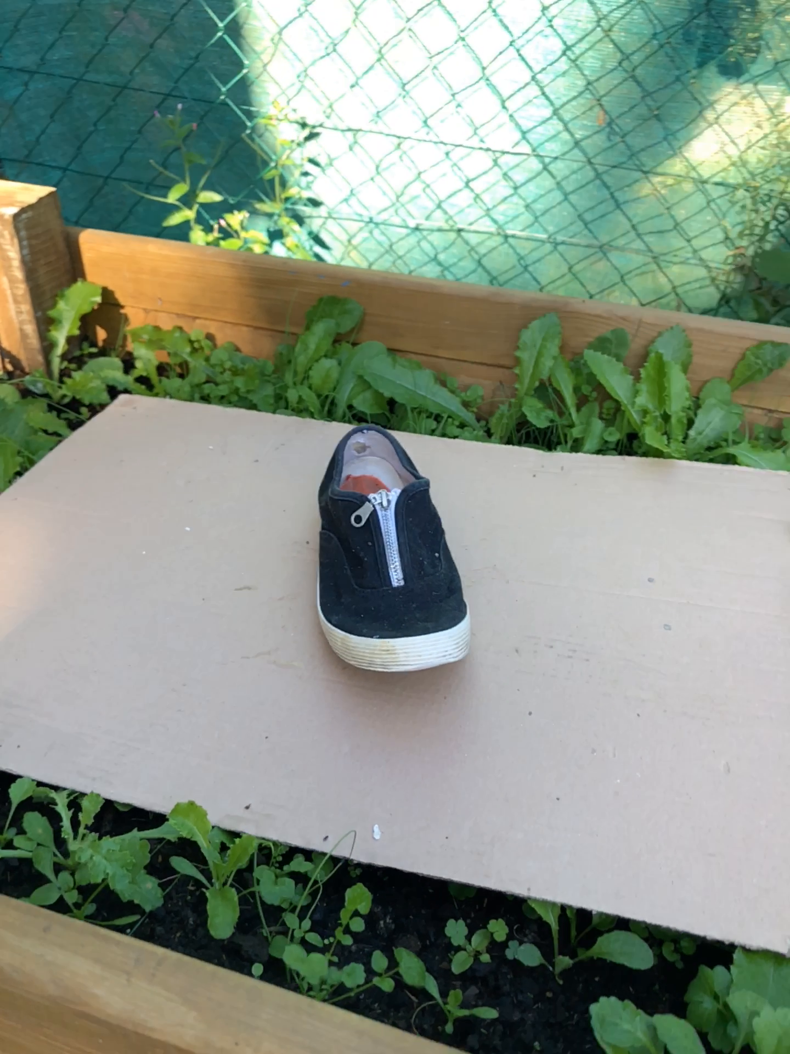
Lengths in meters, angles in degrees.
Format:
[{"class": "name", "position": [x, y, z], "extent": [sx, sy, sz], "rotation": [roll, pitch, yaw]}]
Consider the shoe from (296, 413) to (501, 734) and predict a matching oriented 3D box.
[{"class": "shoe", "position": [-0.008, 0.017, 0.595], "extent": [0.100, 0.070, 0.241], "rotation": [-5, 39, -7]}]
